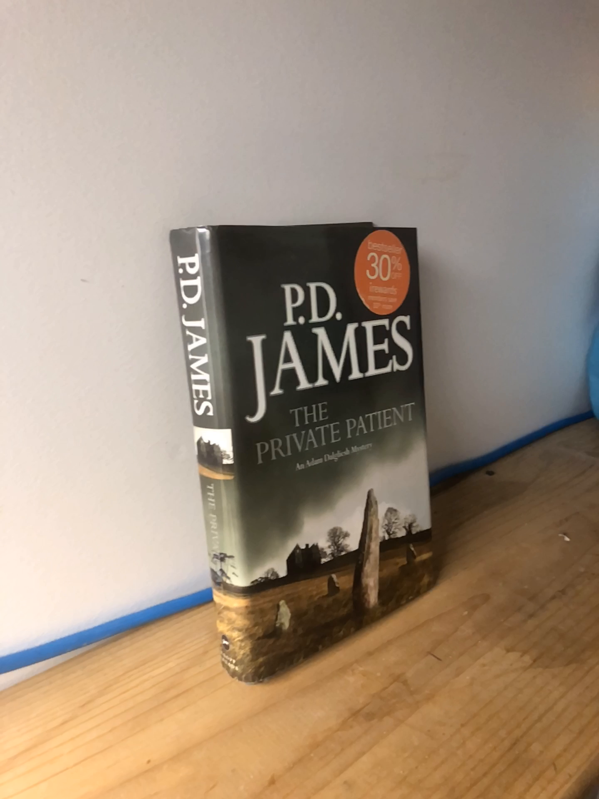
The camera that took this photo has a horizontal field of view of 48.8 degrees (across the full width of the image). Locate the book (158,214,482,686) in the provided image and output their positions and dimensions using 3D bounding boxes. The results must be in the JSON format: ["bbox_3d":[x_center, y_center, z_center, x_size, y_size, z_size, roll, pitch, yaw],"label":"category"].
[{"bbox_3d":[0.025,0.014,0.384,0.180,0.229,0.040,-12,10,-35],"label":"book"}]
